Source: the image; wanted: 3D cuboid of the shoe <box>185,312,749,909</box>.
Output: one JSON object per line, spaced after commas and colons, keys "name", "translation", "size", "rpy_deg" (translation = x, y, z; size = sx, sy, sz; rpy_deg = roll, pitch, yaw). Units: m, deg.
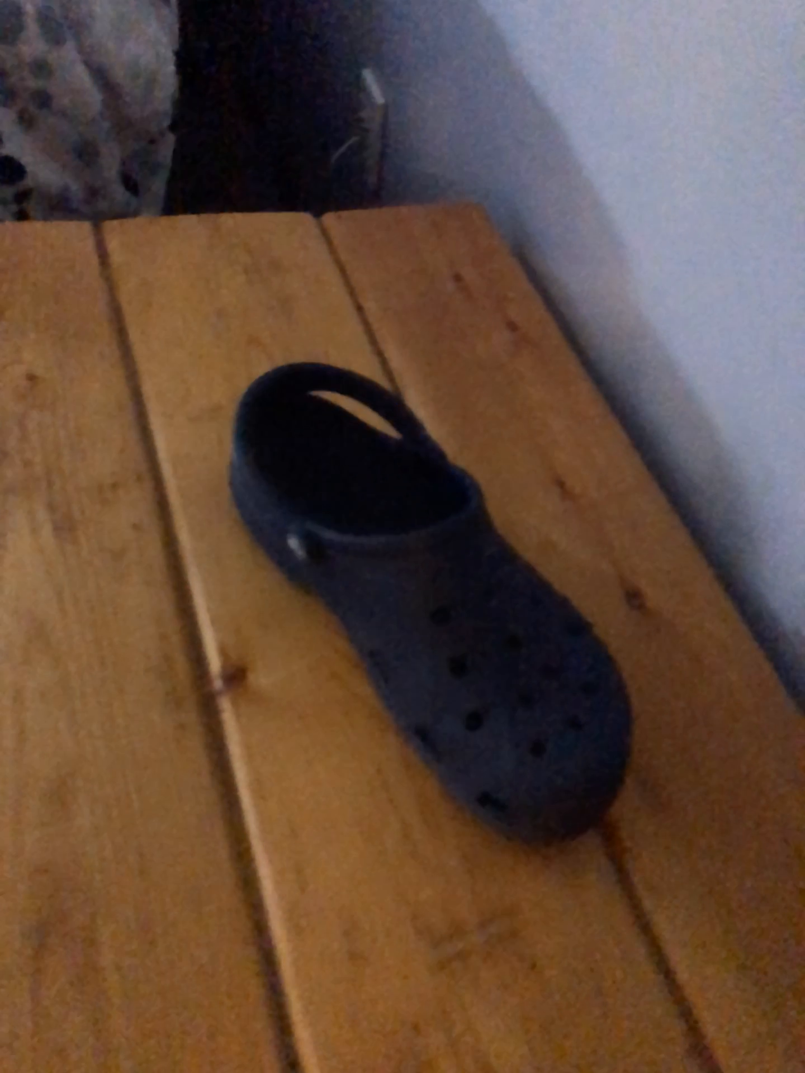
{"name": "shoe", "translation": [0.014, 0.018, 0.457], "size": [0.130, 0.080, 0.290], "rpy_deg": [-25, 61, -27]}
